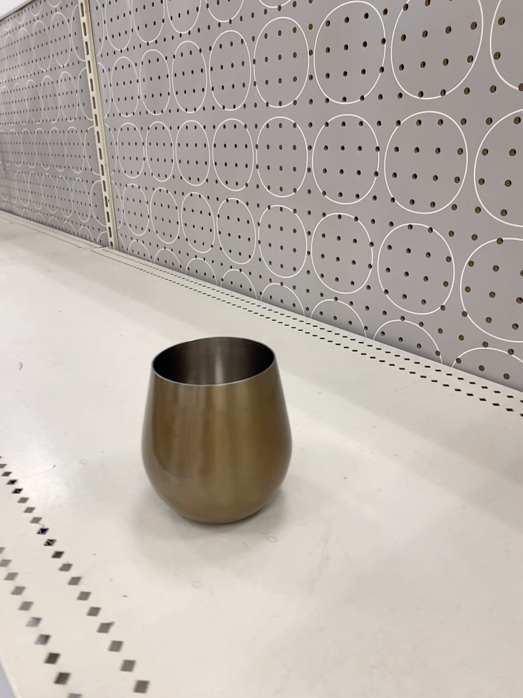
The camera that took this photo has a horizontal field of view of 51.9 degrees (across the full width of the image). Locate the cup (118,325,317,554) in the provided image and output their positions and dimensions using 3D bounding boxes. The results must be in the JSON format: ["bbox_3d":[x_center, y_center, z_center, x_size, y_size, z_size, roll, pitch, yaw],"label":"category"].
[{"bbox_3d":[-0.025,0.048,0.330,0.083,0.090,0.082,-1,22,0],"label":"cup"}]
